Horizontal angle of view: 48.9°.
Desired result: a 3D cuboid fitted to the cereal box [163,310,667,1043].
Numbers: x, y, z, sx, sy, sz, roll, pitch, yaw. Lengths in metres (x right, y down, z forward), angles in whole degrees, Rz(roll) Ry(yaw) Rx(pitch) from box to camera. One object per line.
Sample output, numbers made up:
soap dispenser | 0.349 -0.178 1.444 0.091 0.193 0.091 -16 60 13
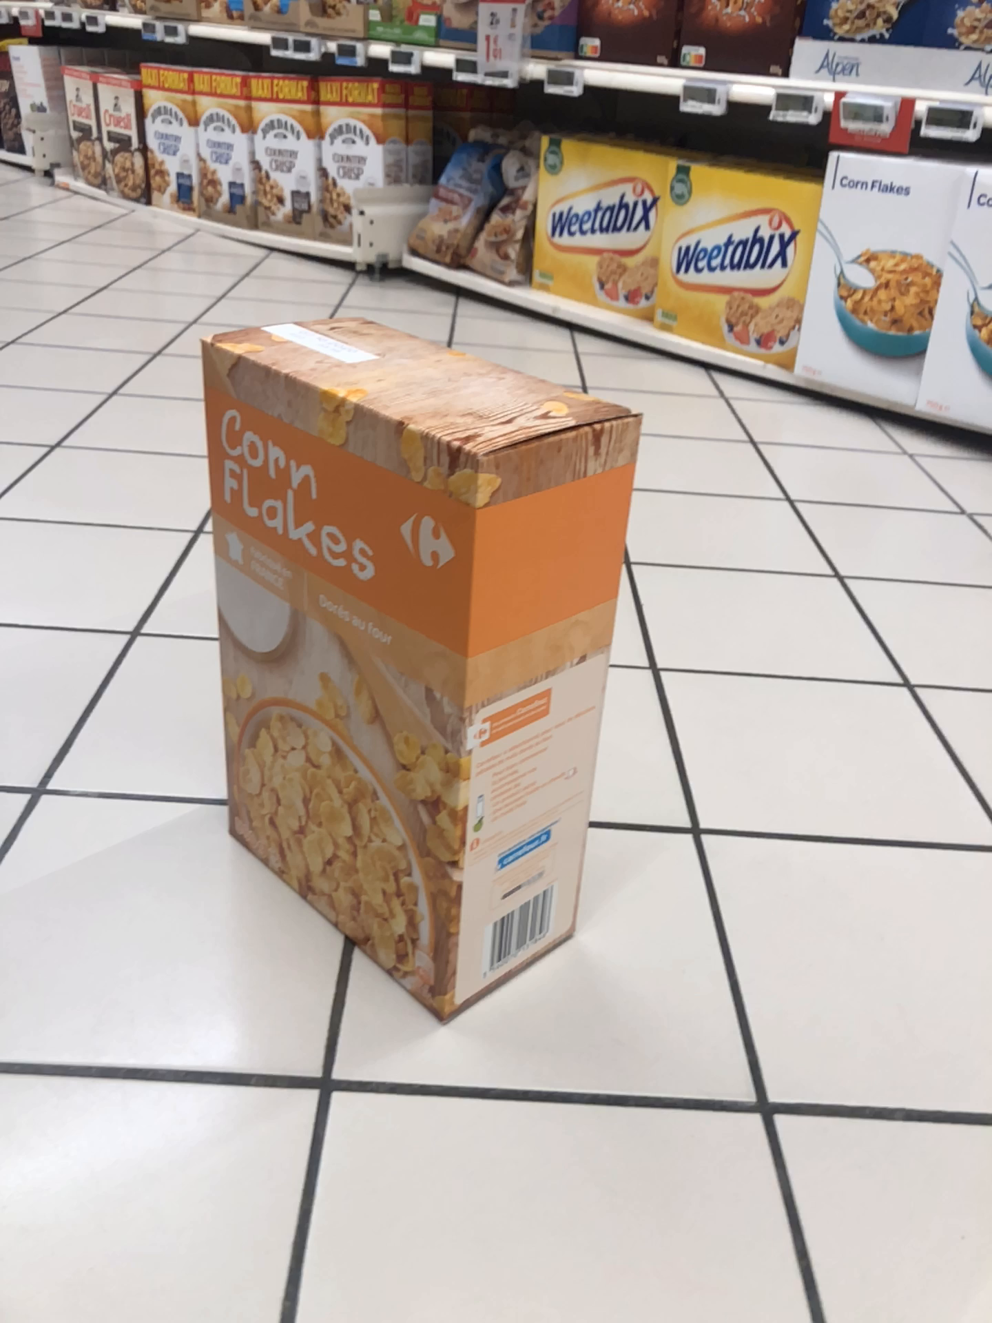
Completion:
cereal box | -0.051 -0.003 0.529 0.111 0.278 0.200 -22 38 -40
